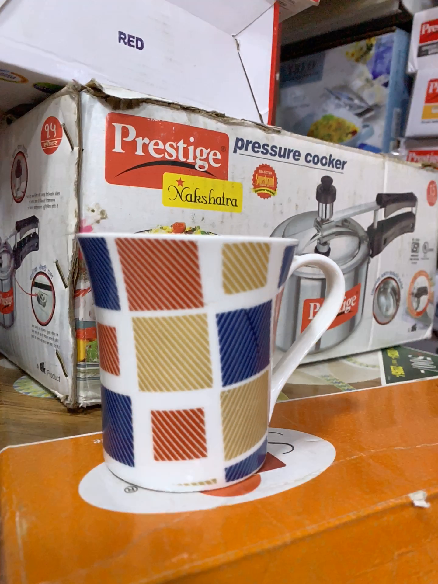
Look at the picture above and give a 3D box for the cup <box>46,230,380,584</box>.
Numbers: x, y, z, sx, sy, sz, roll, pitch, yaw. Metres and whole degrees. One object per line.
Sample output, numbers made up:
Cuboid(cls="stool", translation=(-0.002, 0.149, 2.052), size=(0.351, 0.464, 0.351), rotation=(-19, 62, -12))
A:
Cuboid(cls="cup", translation=(-0.003, 0.024, 0.172), size=(0.100, 0.090, 0.070), rotation=(-3, 7, -38))
